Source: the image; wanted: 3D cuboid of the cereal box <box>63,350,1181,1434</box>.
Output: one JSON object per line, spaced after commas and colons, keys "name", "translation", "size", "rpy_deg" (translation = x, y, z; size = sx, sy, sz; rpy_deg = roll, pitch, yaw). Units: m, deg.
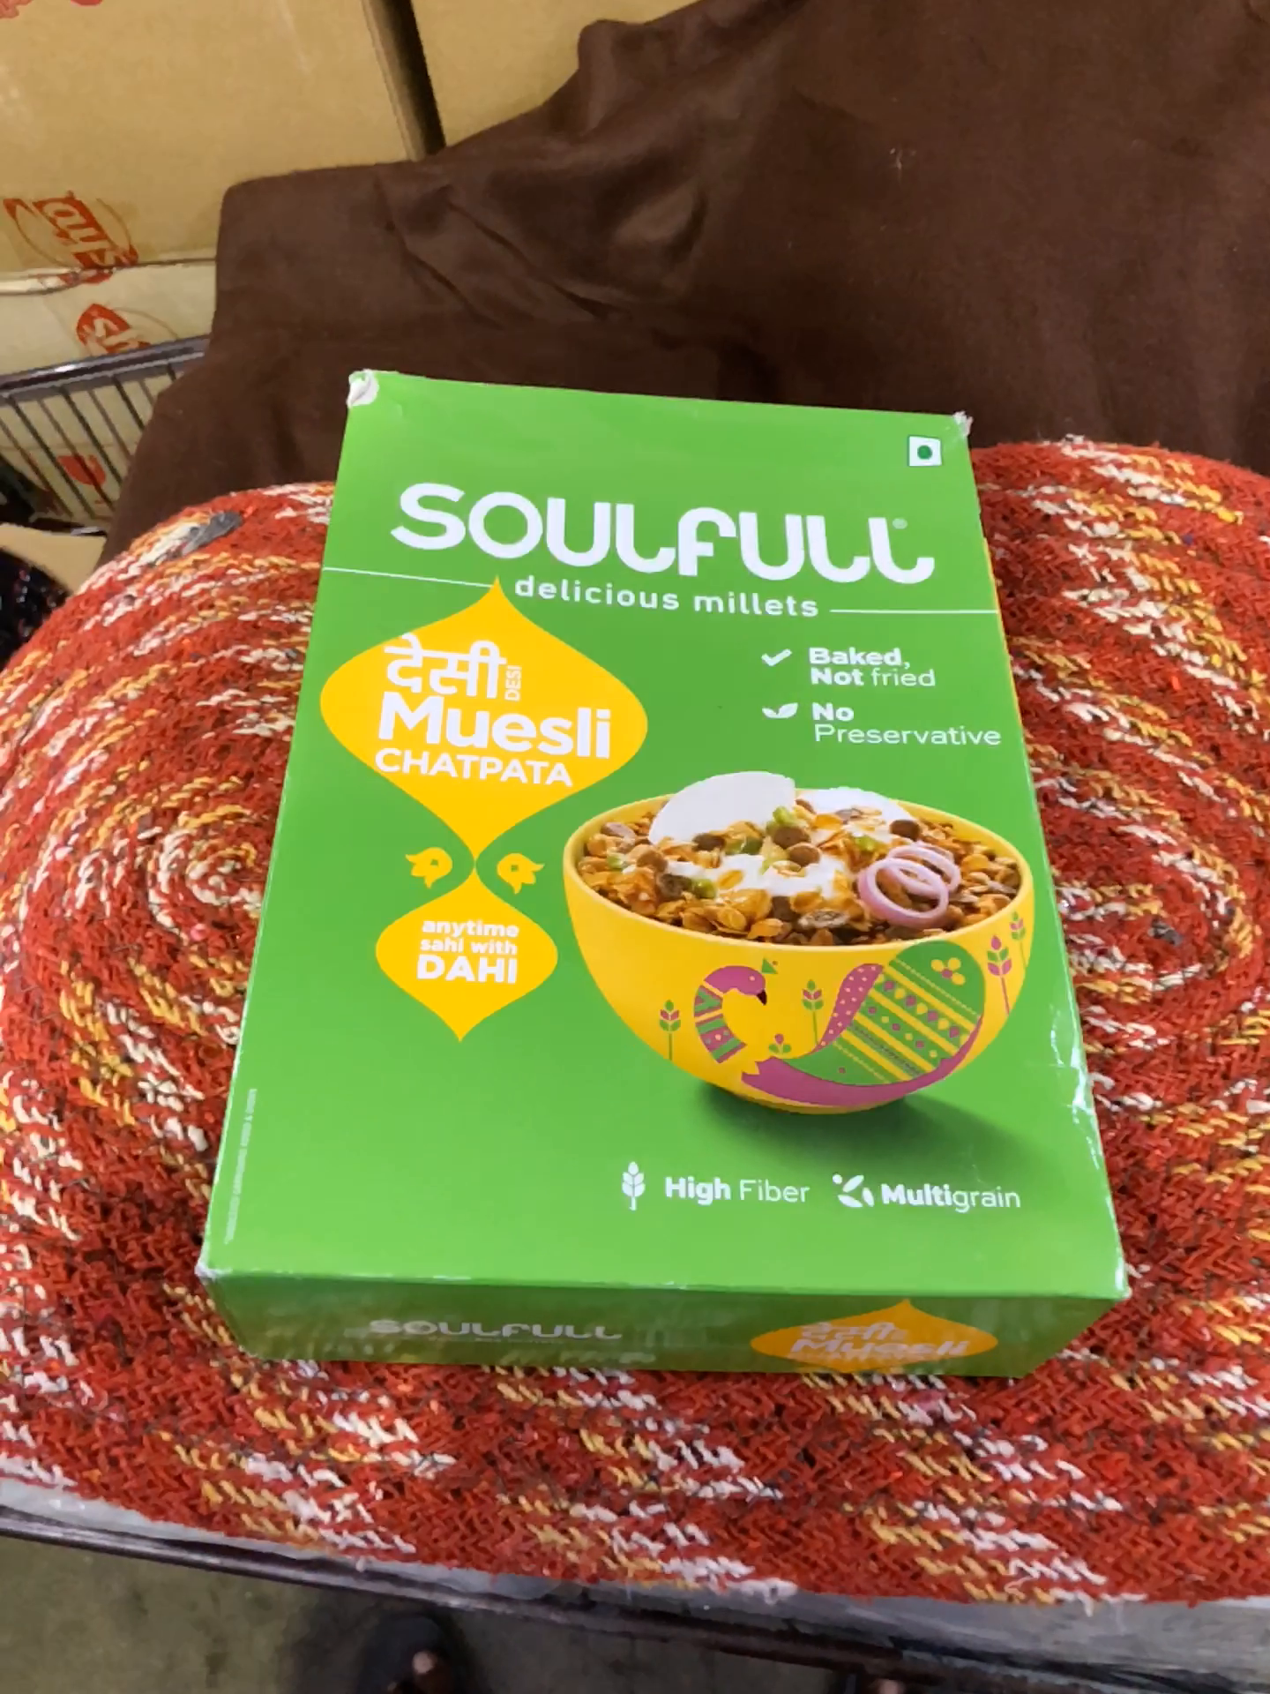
{"name": "cereal box", "translation": [0.000, -0.008, 0.311], "size": [0.170, 0.060, 0.241], "rpy_deg": [3, 53, -2]}
